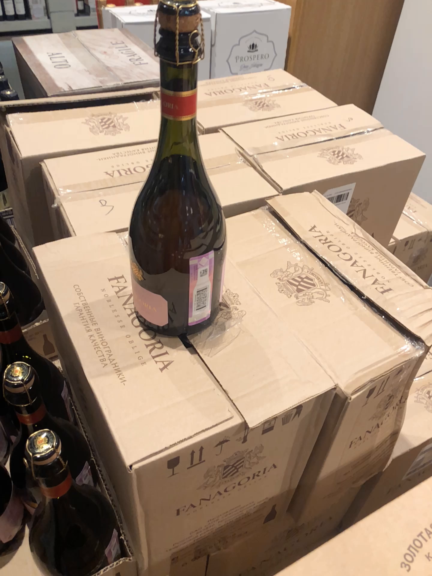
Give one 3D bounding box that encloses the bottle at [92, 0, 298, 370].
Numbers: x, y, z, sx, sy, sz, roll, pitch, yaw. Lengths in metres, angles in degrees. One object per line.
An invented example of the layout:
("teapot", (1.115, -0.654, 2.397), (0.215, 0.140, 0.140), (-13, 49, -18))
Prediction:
("bottle", (-0.025, -0.079, 0.427), (0.100, 0.298, 0.110), (-21, 48, -26))
